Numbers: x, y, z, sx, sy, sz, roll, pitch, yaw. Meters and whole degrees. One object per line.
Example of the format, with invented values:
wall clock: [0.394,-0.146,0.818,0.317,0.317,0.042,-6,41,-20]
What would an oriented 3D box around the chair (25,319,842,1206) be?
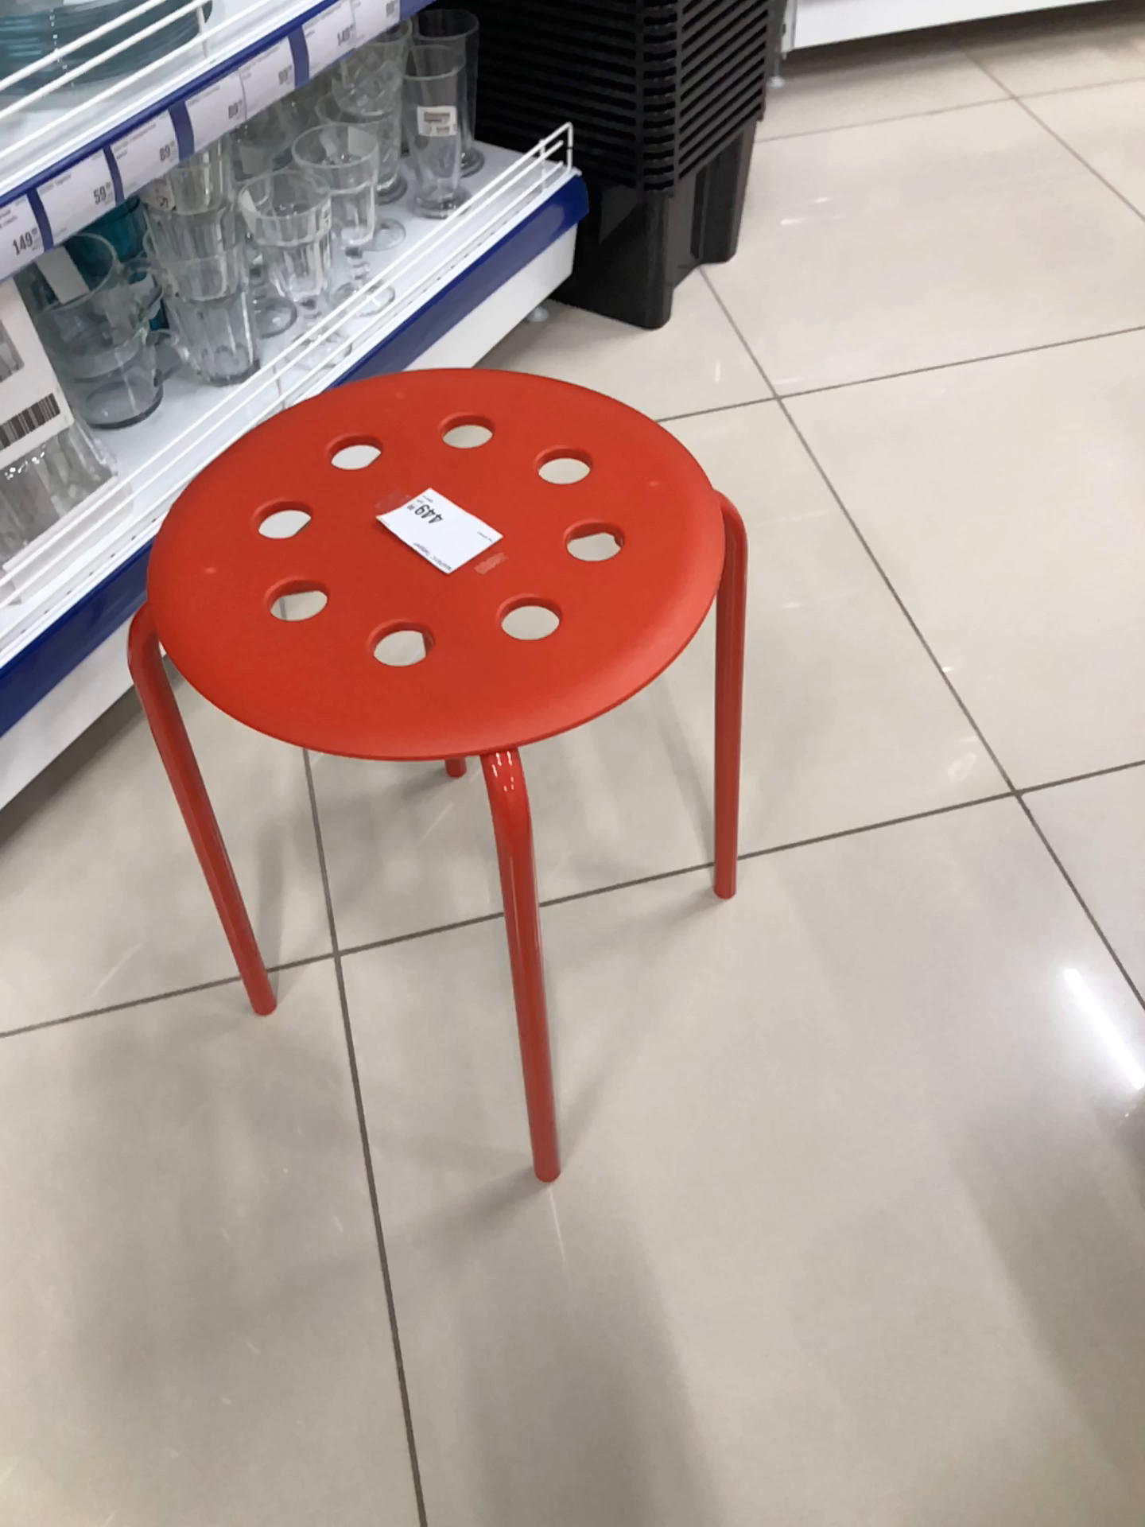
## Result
chair: [-0.059,0.005,0.835,0.320,0.404,0.314,24,56,21]
